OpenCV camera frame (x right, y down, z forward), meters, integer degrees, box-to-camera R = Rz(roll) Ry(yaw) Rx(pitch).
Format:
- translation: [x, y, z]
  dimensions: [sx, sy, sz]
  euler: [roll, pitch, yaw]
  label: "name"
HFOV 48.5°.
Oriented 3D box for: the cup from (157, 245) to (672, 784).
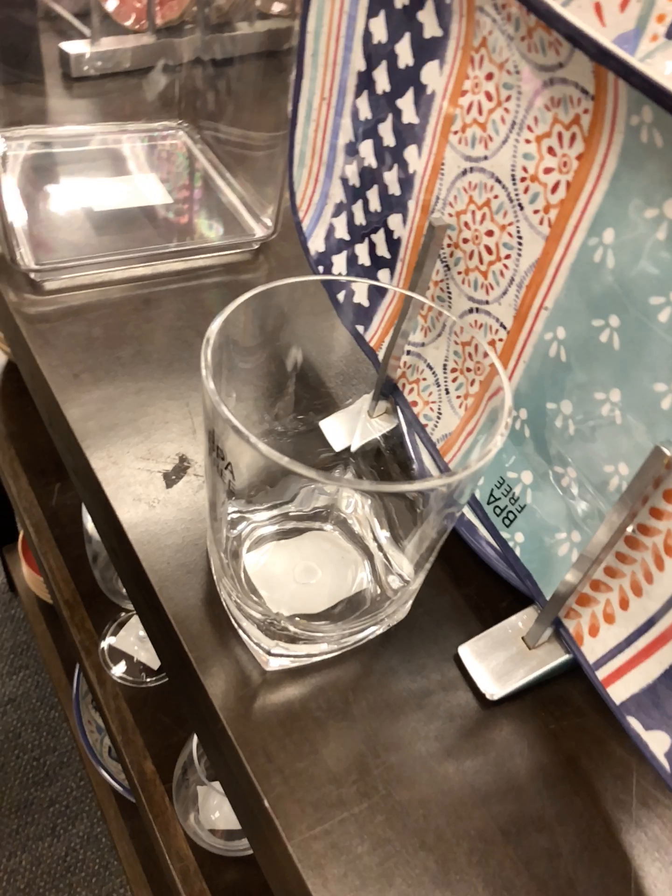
- translation: [0.011, 0.017, 0.254]
  dimensions: [0.108, 0.111, 0.114]
  euler: [7, 46, -7]
  label: "cup"
